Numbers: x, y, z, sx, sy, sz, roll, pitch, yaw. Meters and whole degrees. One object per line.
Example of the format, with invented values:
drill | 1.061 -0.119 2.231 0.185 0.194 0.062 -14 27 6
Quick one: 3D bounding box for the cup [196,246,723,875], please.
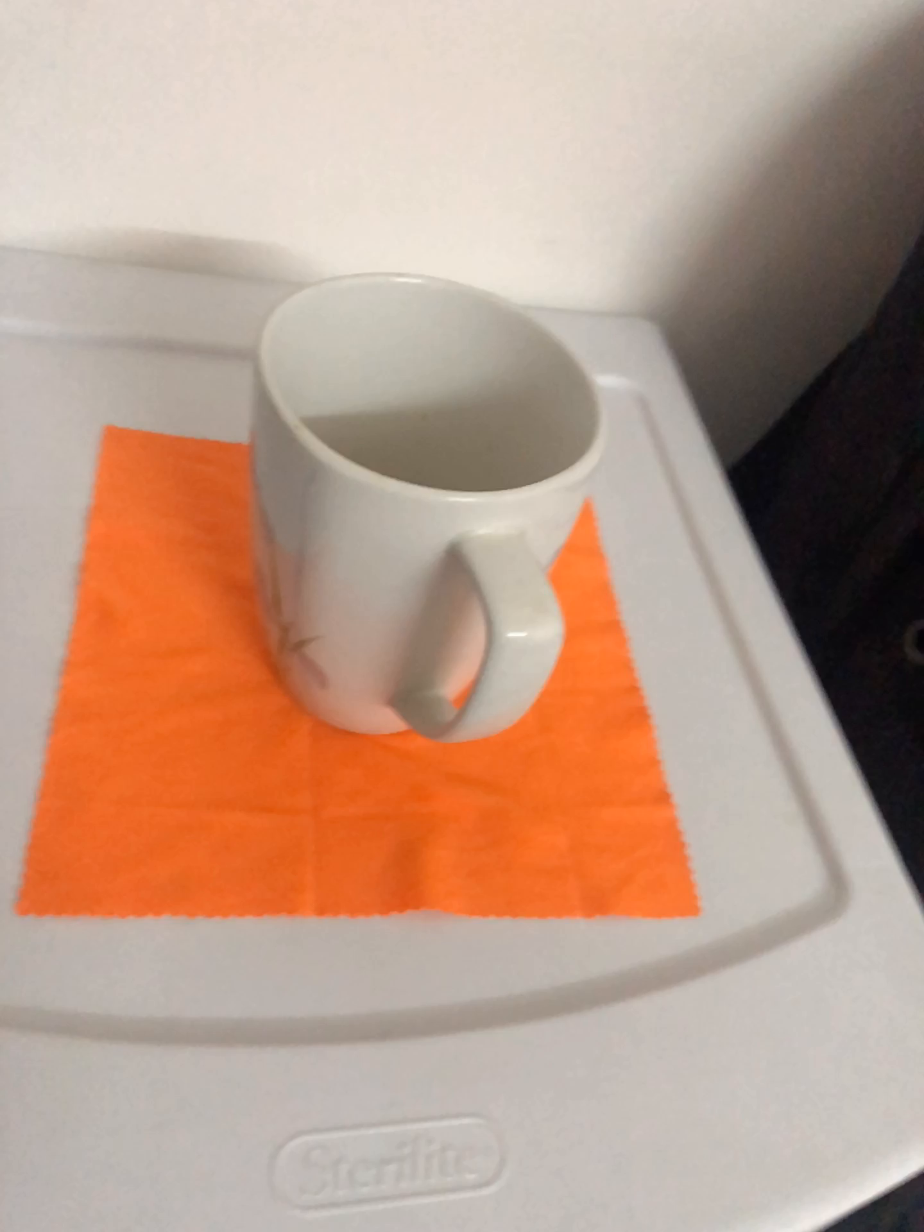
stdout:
cup | -0.015 -0.017 0.272 0.090 0.100 0.120 -5 51 -20
